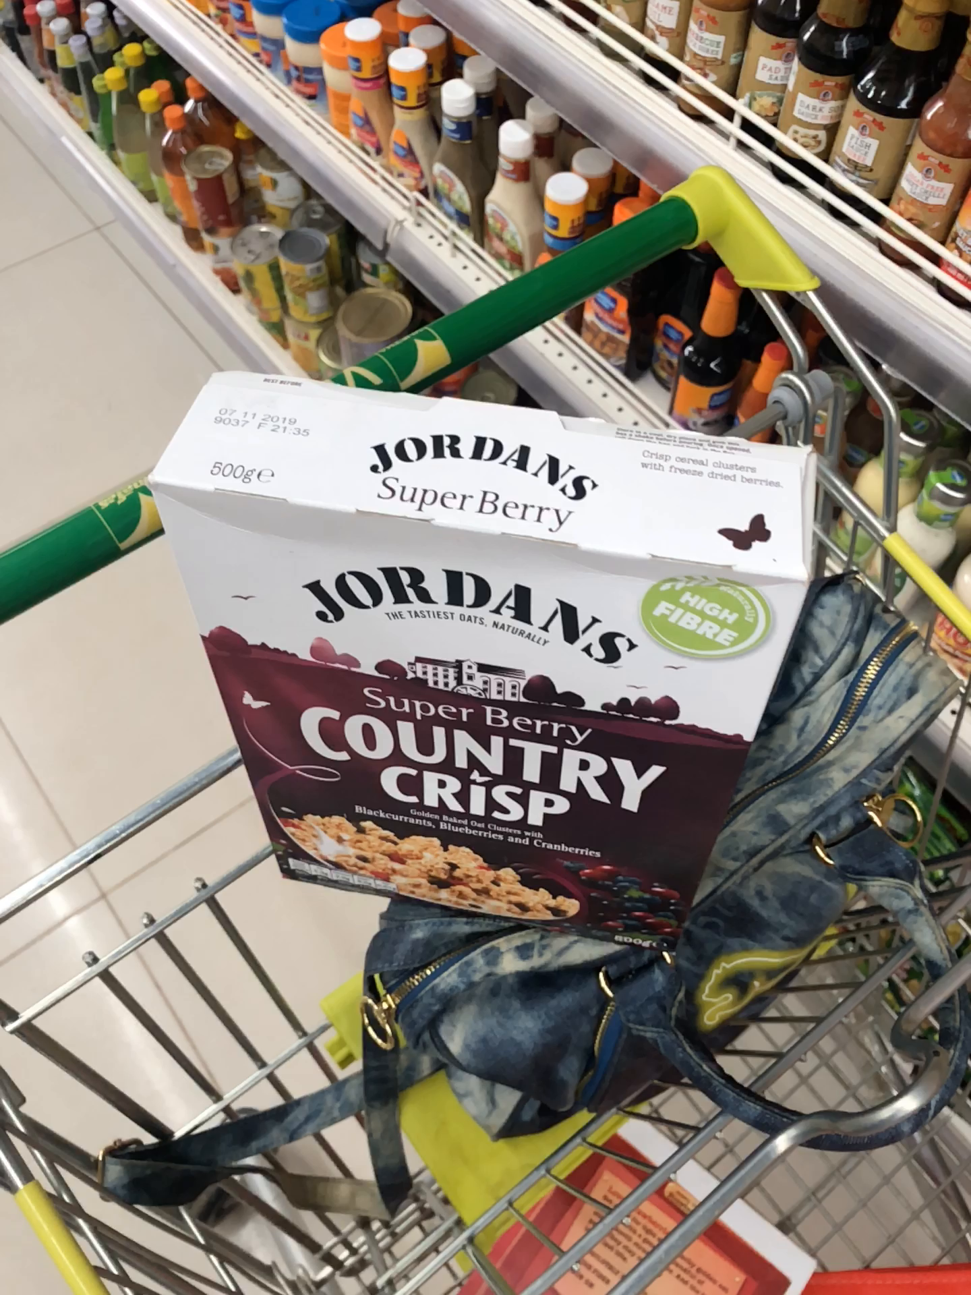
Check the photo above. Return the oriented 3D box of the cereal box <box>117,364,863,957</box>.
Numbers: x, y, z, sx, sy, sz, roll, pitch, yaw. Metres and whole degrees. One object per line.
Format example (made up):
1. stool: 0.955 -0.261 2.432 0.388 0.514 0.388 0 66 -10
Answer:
1. cereal box: 0.000 0.024 0.364 0.180 0.230 0.050 8 53 5
